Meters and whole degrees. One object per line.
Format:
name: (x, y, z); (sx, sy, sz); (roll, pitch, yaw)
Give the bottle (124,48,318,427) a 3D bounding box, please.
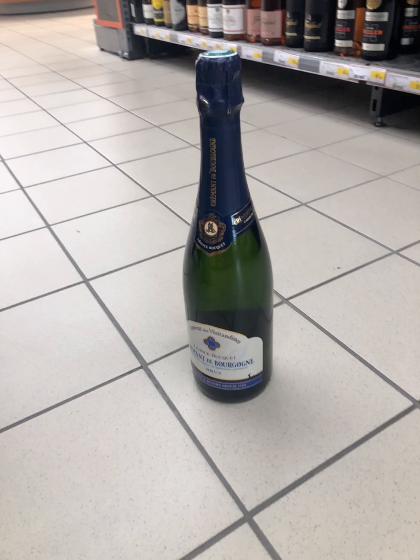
bottle: (0.019, -0.027, 0.410); (0.100, 0.308, 0.101); (-3, 33, 2)
